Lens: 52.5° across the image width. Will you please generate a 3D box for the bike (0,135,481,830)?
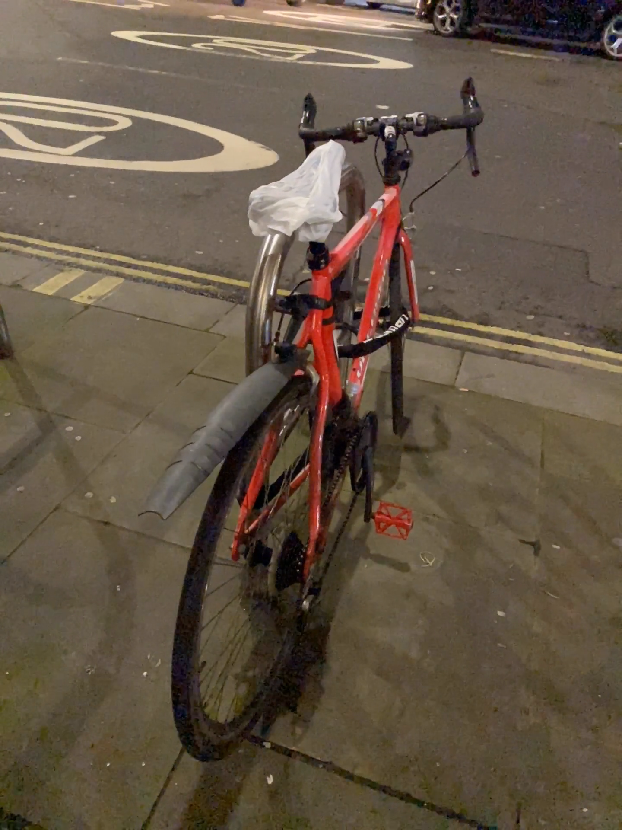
[{"bbox_3d":[0.020,-0.082,1.591,0.537,0.809,1.670,12,36,12],"label":"bike"}]
